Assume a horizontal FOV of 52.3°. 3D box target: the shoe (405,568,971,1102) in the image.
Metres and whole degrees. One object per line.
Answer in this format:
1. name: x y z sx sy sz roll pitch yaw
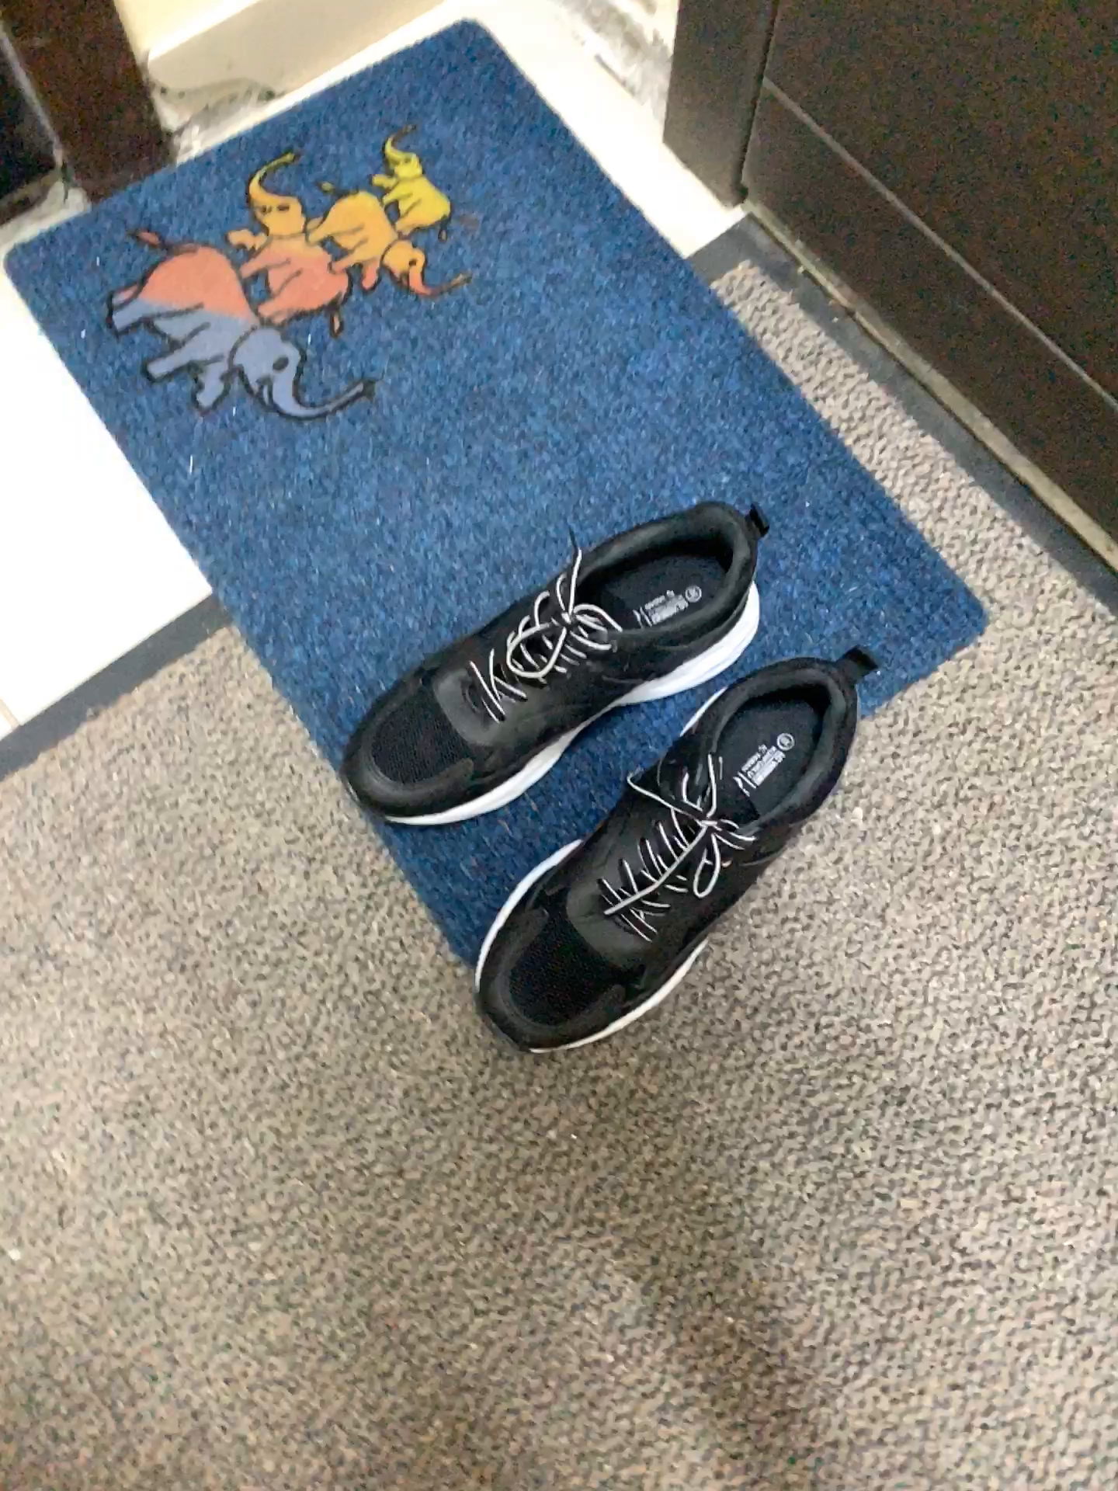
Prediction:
1. shoe: 0.063 0.047 0.579 0.260 0.100 0.110 -40 77 -12

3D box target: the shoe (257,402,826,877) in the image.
1. shoe: -0.007 -0.054 0.606 0.260 0.100 0.110 -31 75 -10
